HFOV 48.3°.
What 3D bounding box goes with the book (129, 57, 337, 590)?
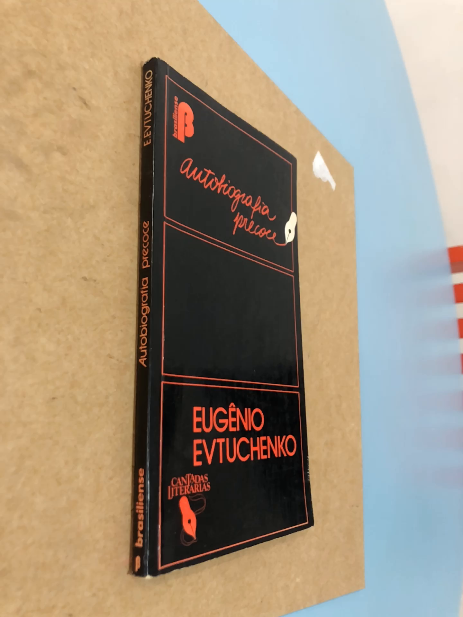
[{"bbox_3d":[0.006,0.005,0.229,0.115,0.016,0.190,15,69,-50],"label":"book"}]
